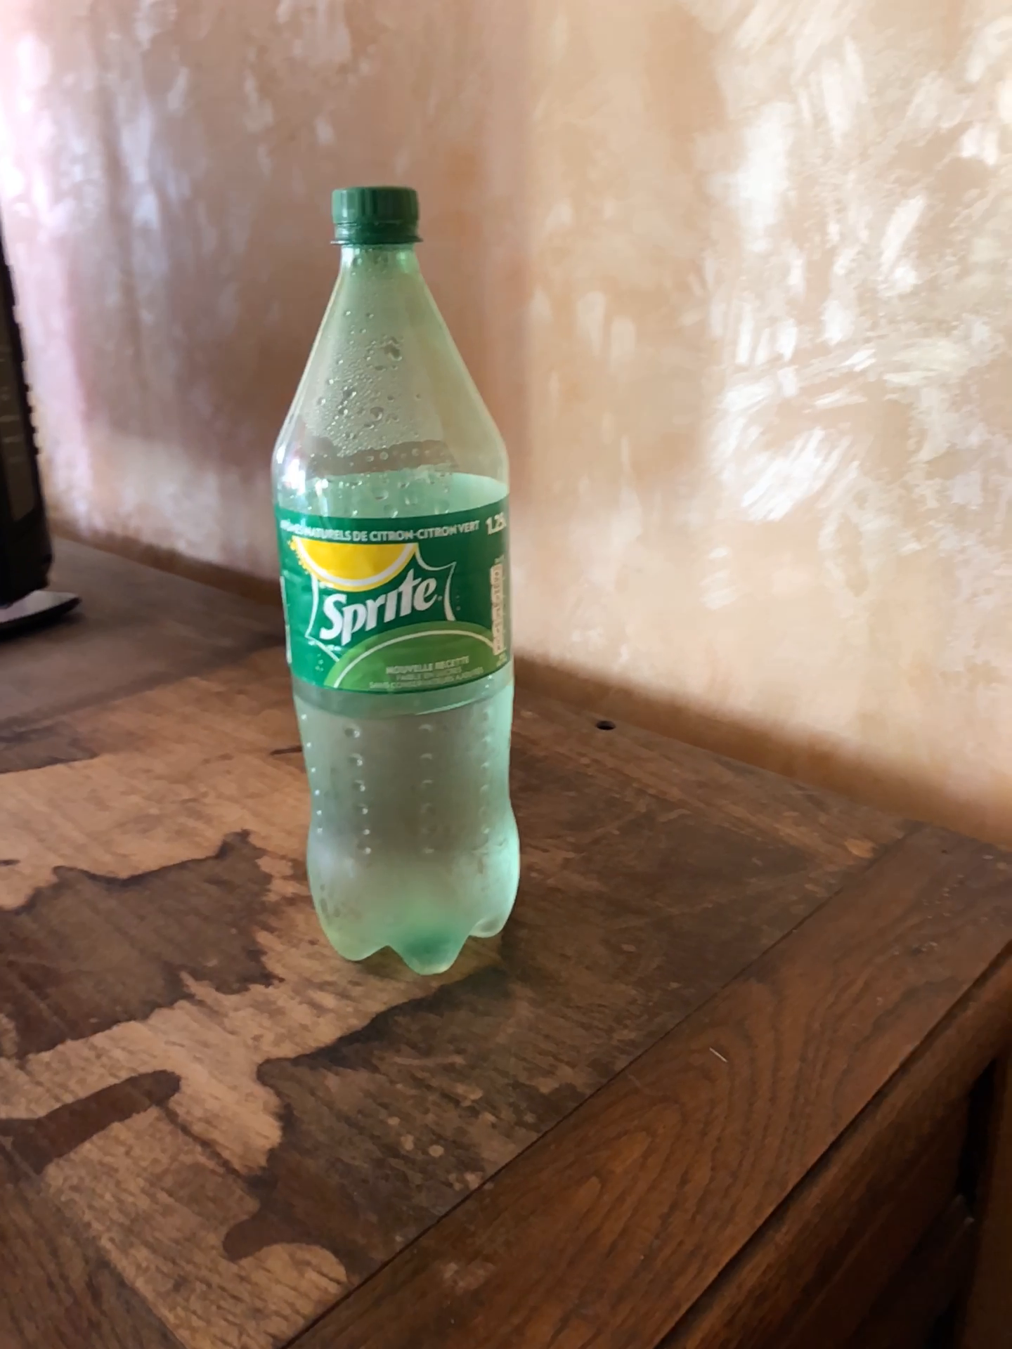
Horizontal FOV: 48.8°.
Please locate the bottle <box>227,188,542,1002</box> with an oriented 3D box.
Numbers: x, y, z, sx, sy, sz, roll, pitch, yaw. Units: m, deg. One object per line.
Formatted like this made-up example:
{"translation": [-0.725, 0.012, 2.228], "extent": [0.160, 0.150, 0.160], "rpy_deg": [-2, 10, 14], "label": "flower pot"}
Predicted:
{"translation": [-0.036, -0.025, 0.410], "extent": [0.090, 0.279, 0.090], "rpy_deg": [0, 21, 0], "label": "bottle"}
